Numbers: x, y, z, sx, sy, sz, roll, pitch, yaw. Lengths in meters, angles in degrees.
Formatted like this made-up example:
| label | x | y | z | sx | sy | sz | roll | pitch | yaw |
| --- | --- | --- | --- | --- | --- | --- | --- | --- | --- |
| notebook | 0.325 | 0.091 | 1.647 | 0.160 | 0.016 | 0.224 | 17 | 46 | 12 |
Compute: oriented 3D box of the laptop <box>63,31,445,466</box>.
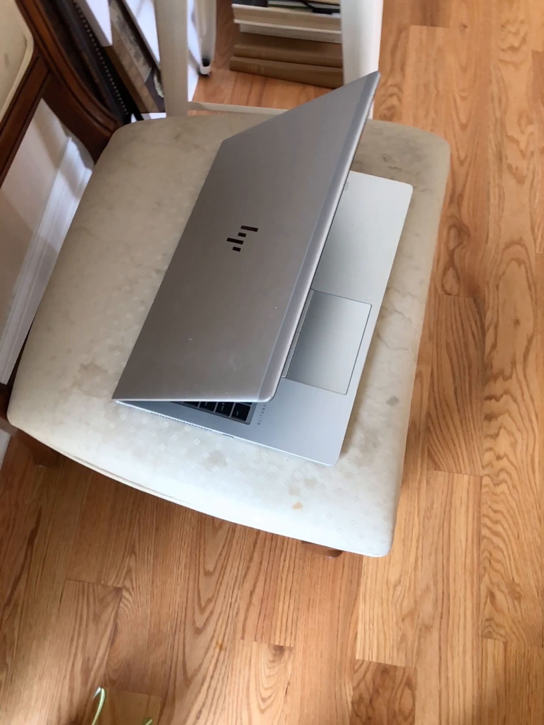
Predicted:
| label | x | y | z | sx | sy | sz | roll | pitch | yaw |
| --- | --- | --- | --- | --- | --- | --- | --- | --- | --- |
| laptop | 0.000 | -0.118 | 0.618 | 0.244 | 0.159 | 0.366 | 16 | 70 | 7 |
